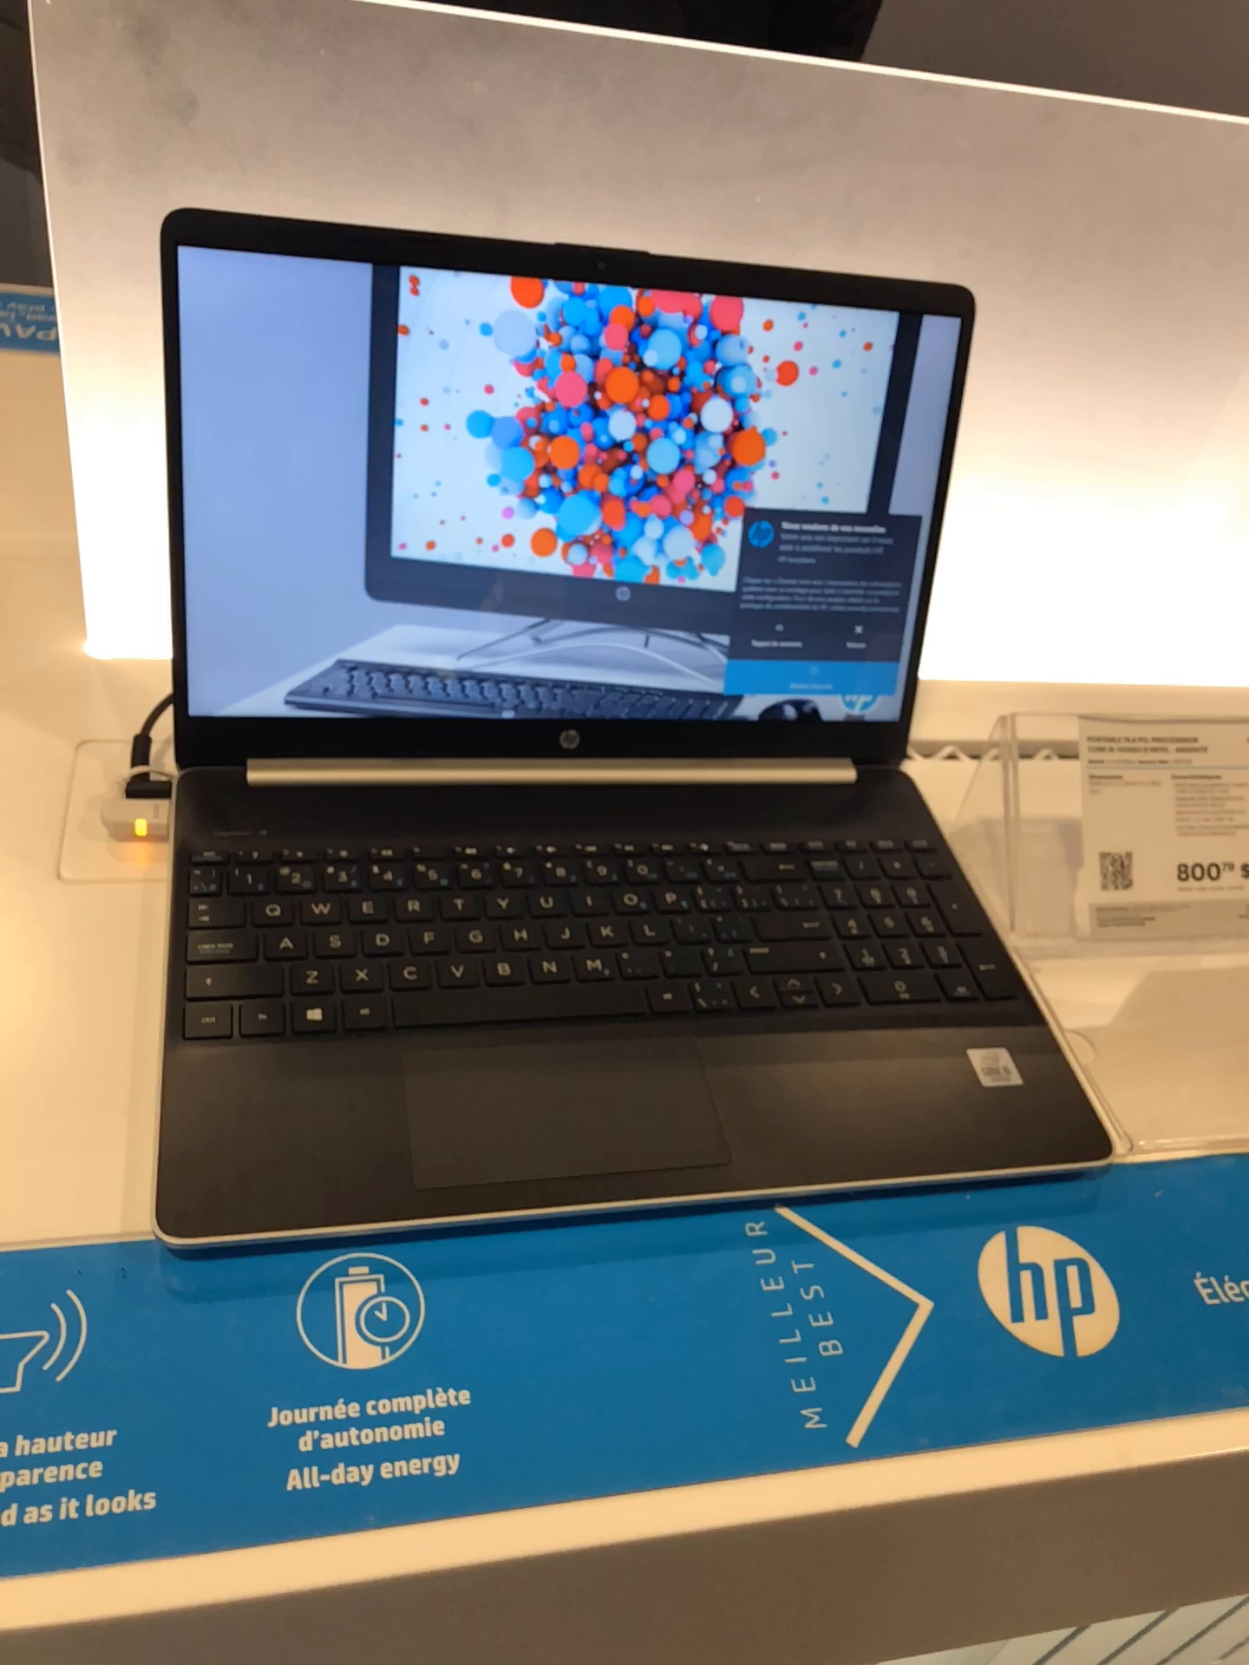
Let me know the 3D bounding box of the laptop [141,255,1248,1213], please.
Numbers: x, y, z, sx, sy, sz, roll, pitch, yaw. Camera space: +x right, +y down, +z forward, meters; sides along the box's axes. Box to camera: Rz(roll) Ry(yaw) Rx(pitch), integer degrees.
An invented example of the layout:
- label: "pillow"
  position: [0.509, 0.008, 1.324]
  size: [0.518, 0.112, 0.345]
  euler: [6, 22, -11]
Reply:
- label: "laptop"
  position: [0.008, -0.055, 0.534]
  size: [0.336, 0.206, 0.317]
  euler: [0, 39, -14]
